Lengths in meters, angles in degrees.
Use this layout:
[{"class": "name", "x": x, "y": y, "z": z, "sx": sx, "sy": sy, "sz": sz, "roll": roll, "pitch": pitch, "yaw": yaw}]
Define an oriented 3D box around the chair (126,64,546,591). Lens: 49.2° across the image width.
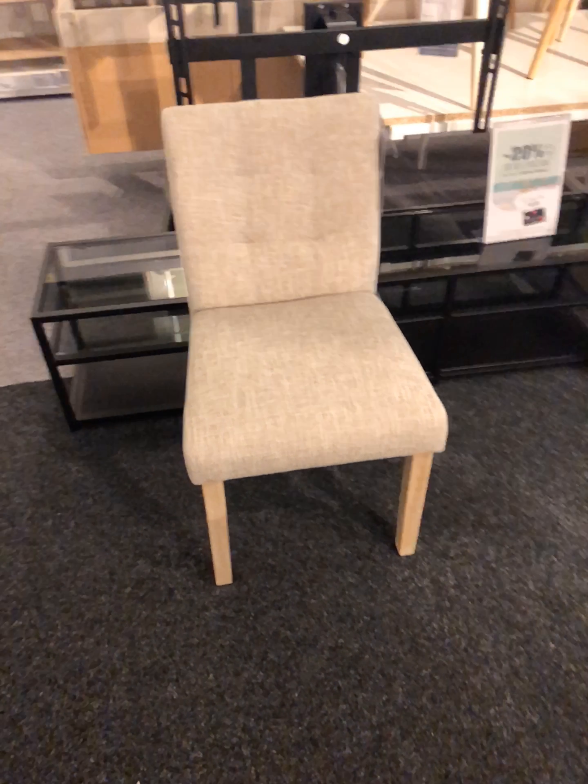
[{"class": "chair", "x": 0.021, "y": -0.111, "z": 1.317, "sx": 0.550, "sy": 0.855, "sz": 0.563, "roll": -7, "pitch": 43, "yaw": -7}]
